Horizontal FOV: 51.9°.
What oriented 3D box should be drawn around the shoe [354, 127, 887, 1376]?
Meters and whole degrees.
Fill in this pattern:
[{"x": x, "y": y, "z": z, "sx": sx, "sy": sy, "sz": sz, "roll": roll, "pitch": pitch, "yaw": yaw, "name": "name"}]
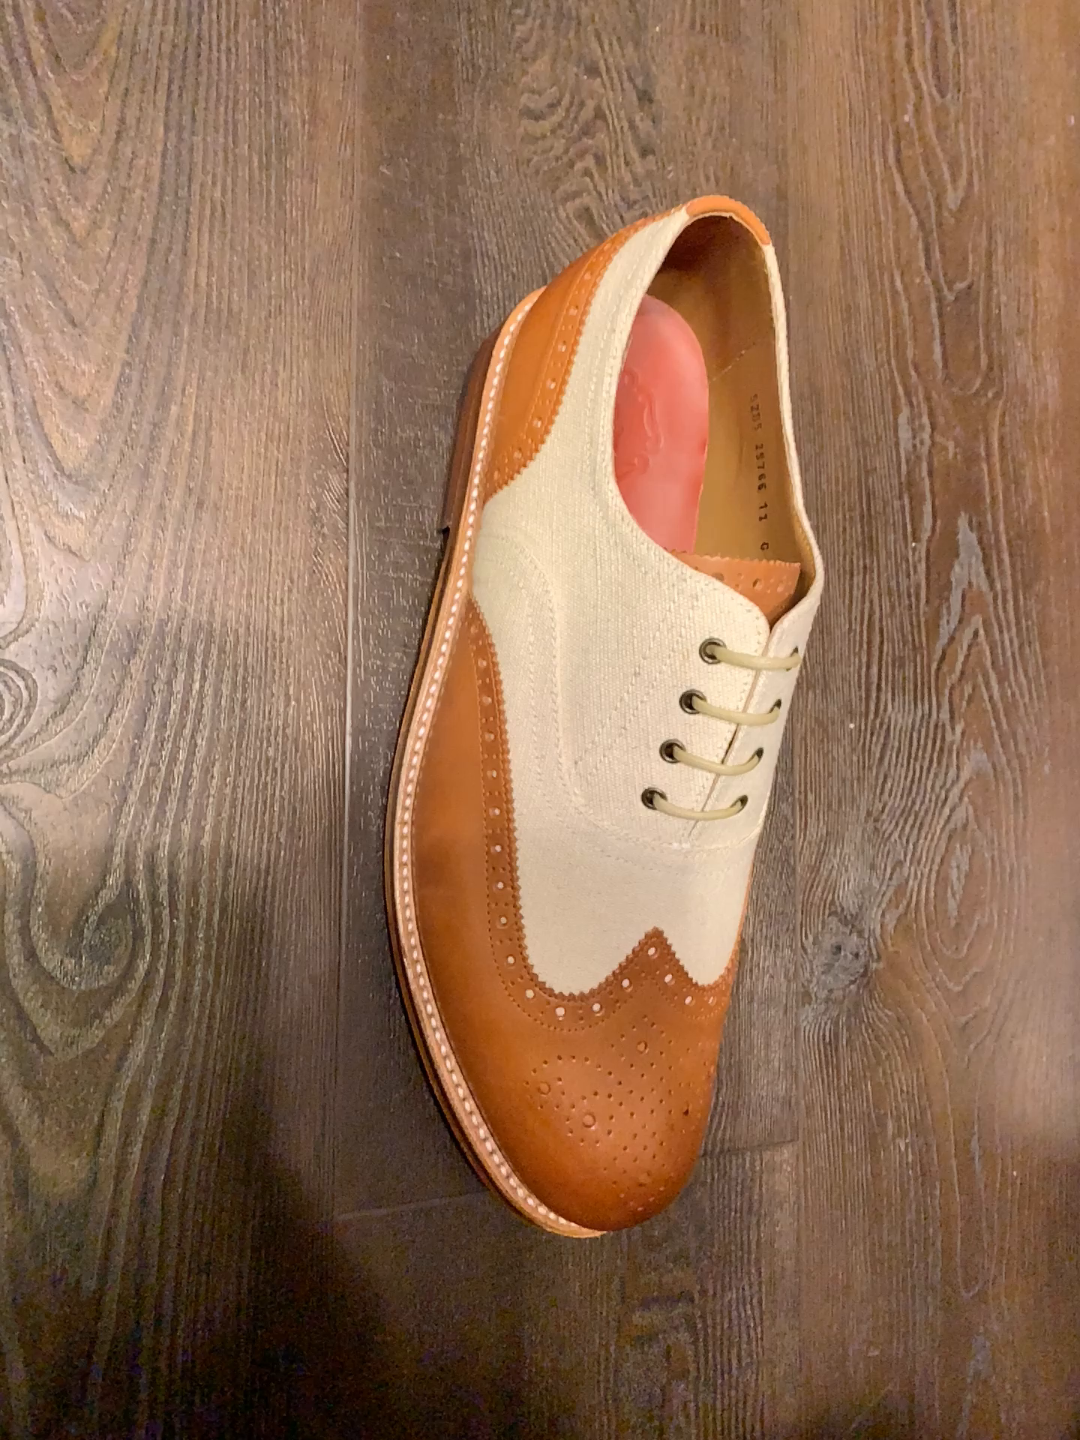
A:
[{"x": 0.021, "y": 0.007, "z": 0.343, "sx": 0.110, "sy": 0.120, "sz": 0.300, "roll": 5, "pitch": 84, "yaw": -25, "name": "shoe"}]
